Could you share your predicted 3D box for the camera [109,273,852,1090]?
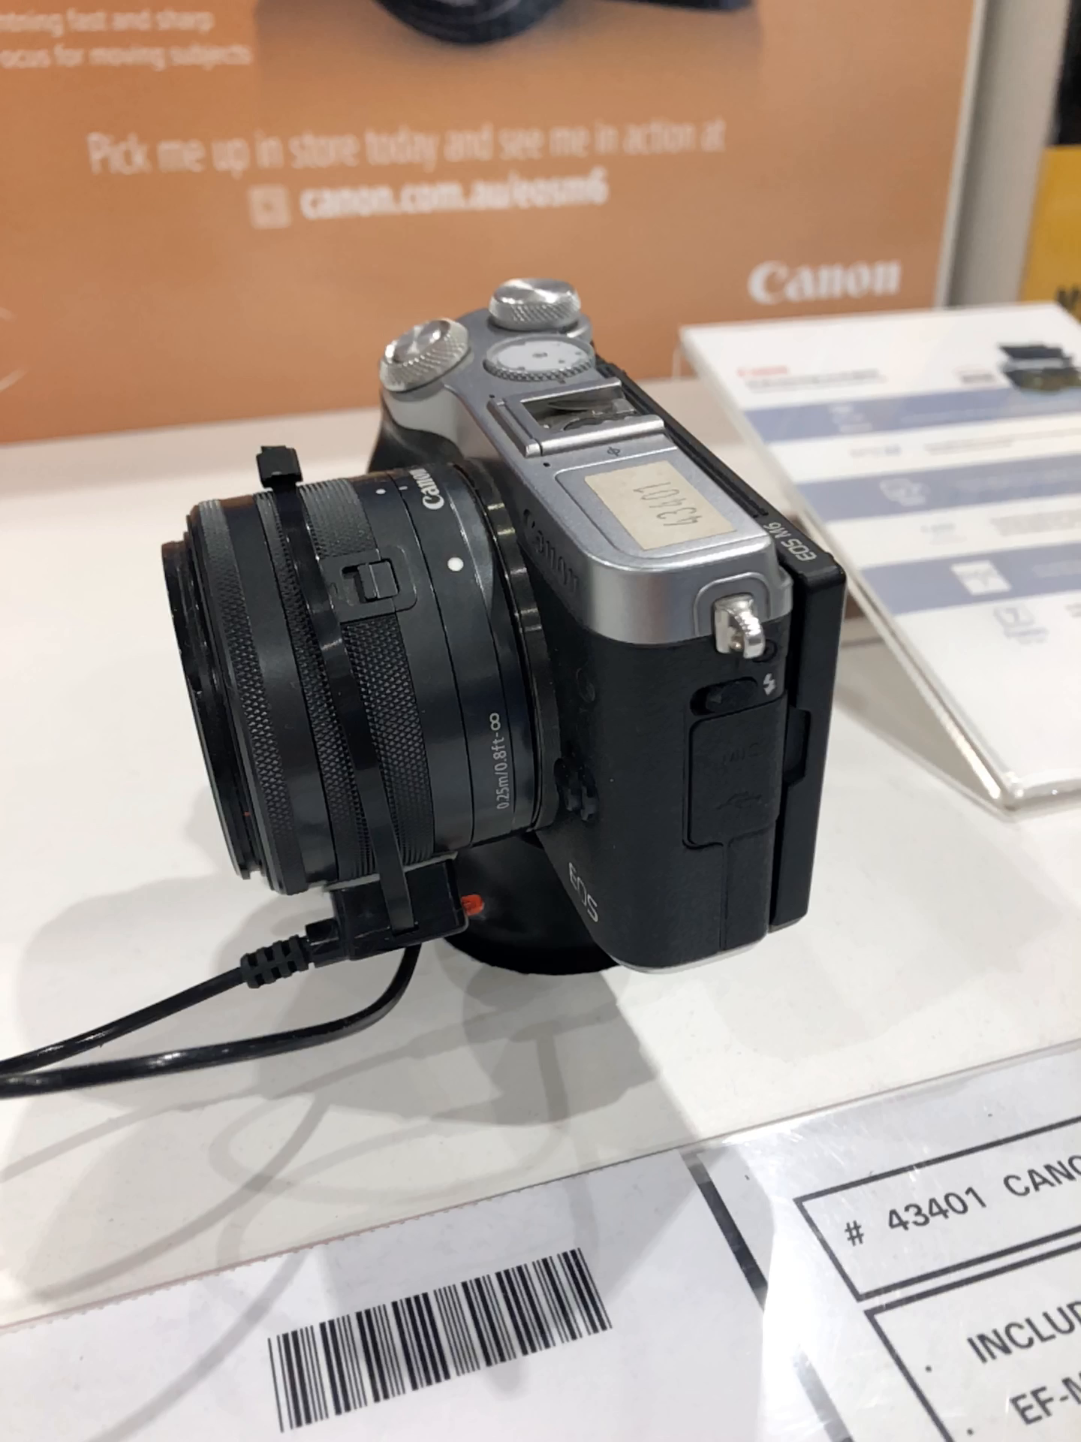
[{"bbox_3d":[-0.016,-0.016,0.196,0.083,0.075,0.103,-12,35,-13],"label":"camera"}]
